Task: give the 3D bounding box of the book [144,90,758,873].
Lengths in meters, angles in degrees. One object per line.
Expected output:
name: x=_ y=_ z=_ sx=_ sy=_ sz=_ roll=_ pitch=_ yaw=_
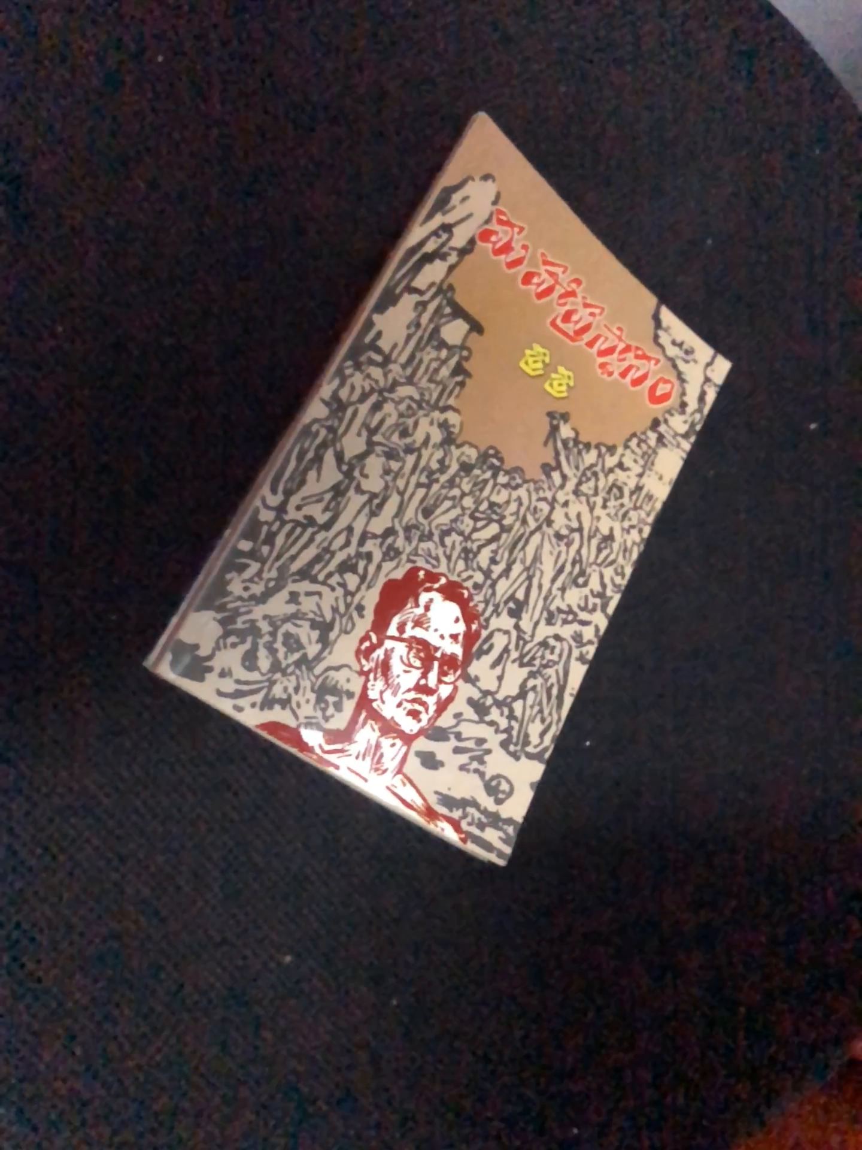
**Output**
book: x=0.023 y=-0.029 z=0.329 sx=0.141 sy=0.018 sz=0.220 roll=35 pitch=75 yaw=-27
